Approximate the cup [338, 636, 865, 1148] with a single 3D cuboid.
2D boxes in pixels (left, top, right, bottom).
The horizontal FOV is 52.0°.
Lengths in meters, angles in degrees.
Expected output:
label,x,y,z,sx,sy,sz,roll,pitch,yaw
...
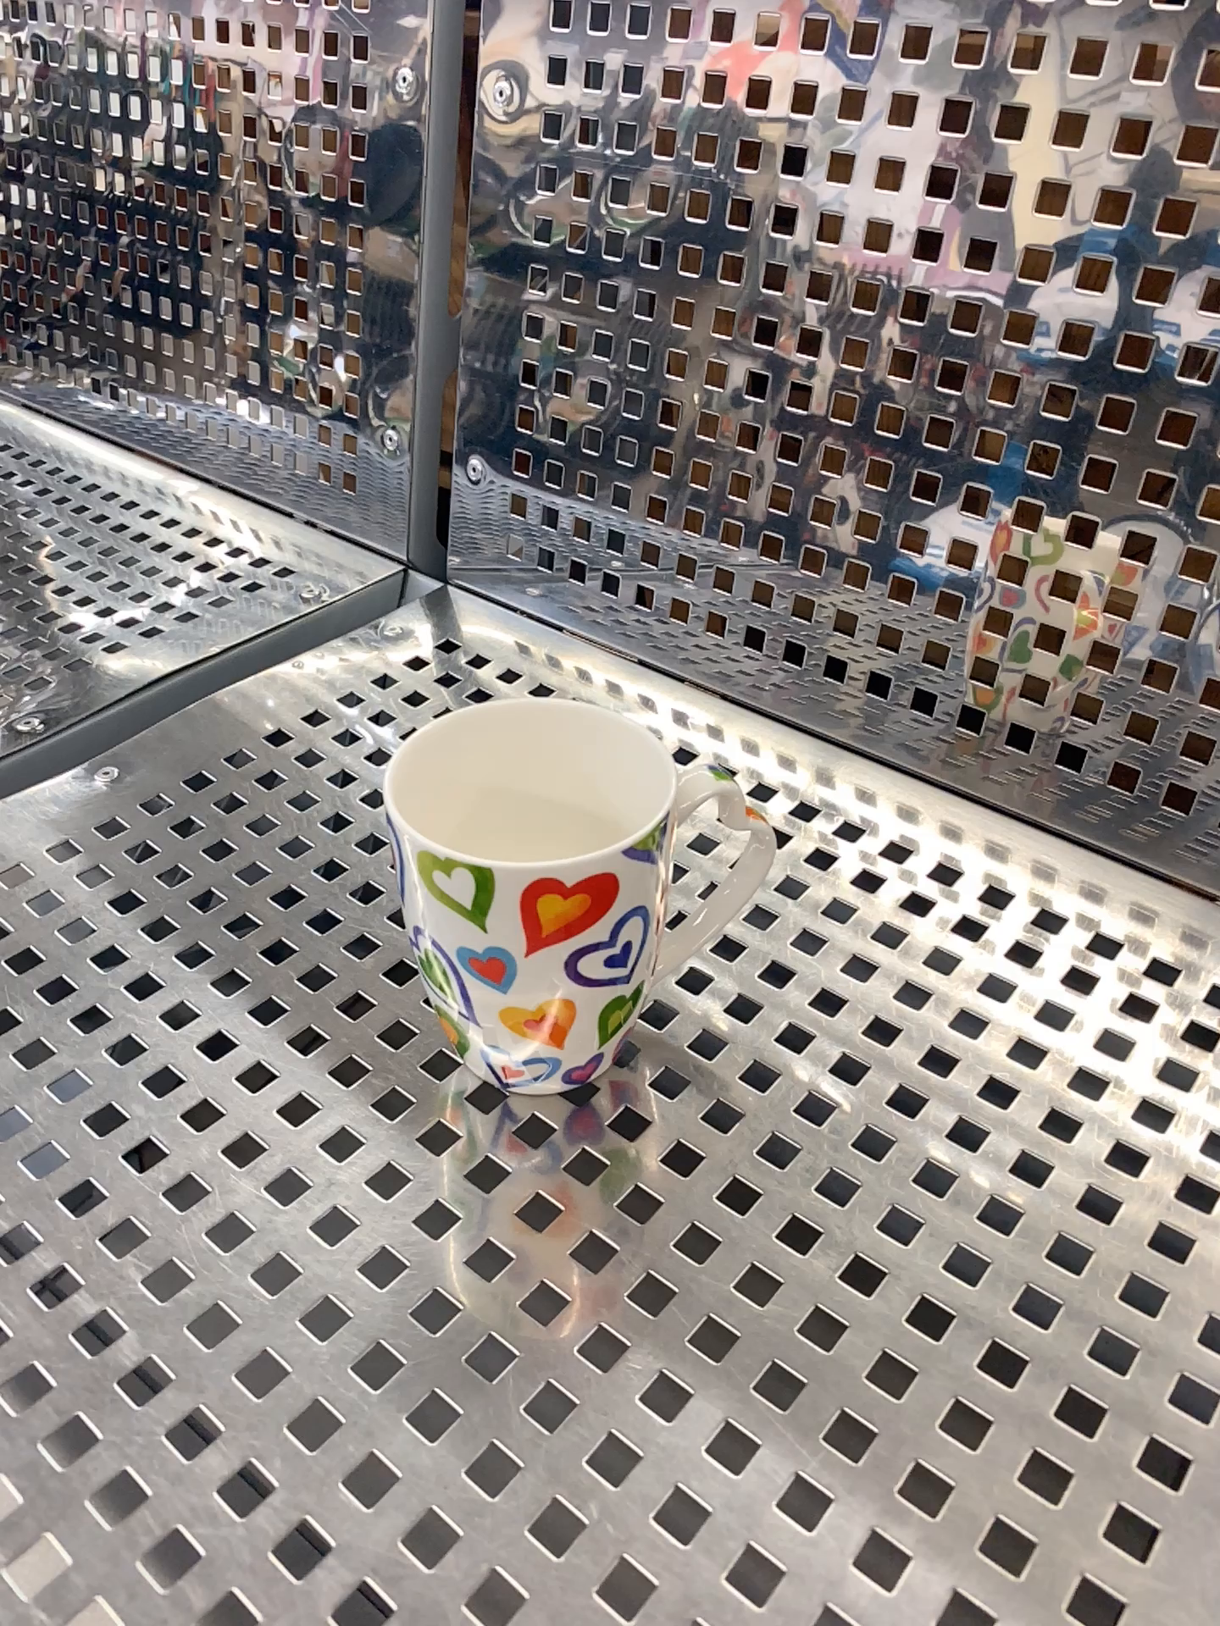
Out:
label,x,y,z,sx,sy,sz,roll,pitch,yaw
cup,-0.005,0.020,0.356,0.120,0.100,0.070,-12,41,-16
